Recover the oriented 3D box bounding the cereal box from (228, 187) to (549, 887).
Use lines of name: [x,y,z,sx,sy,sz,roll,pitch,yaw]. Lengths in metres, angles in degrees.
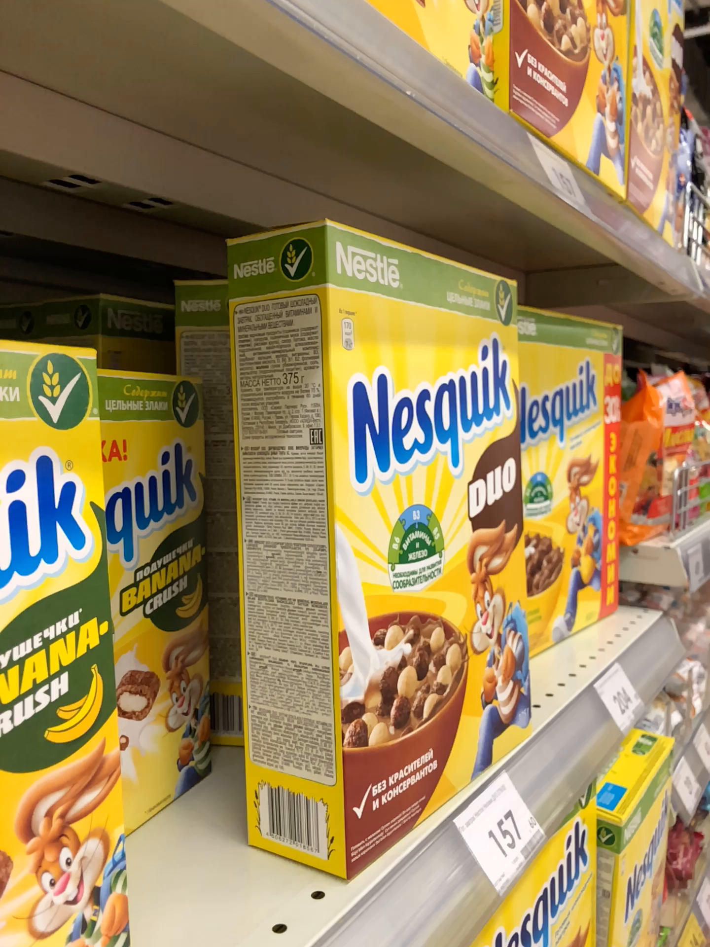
cereal box: [0.031,0.022,0.412,0.060,0.280,0.200,-1,2,36]
